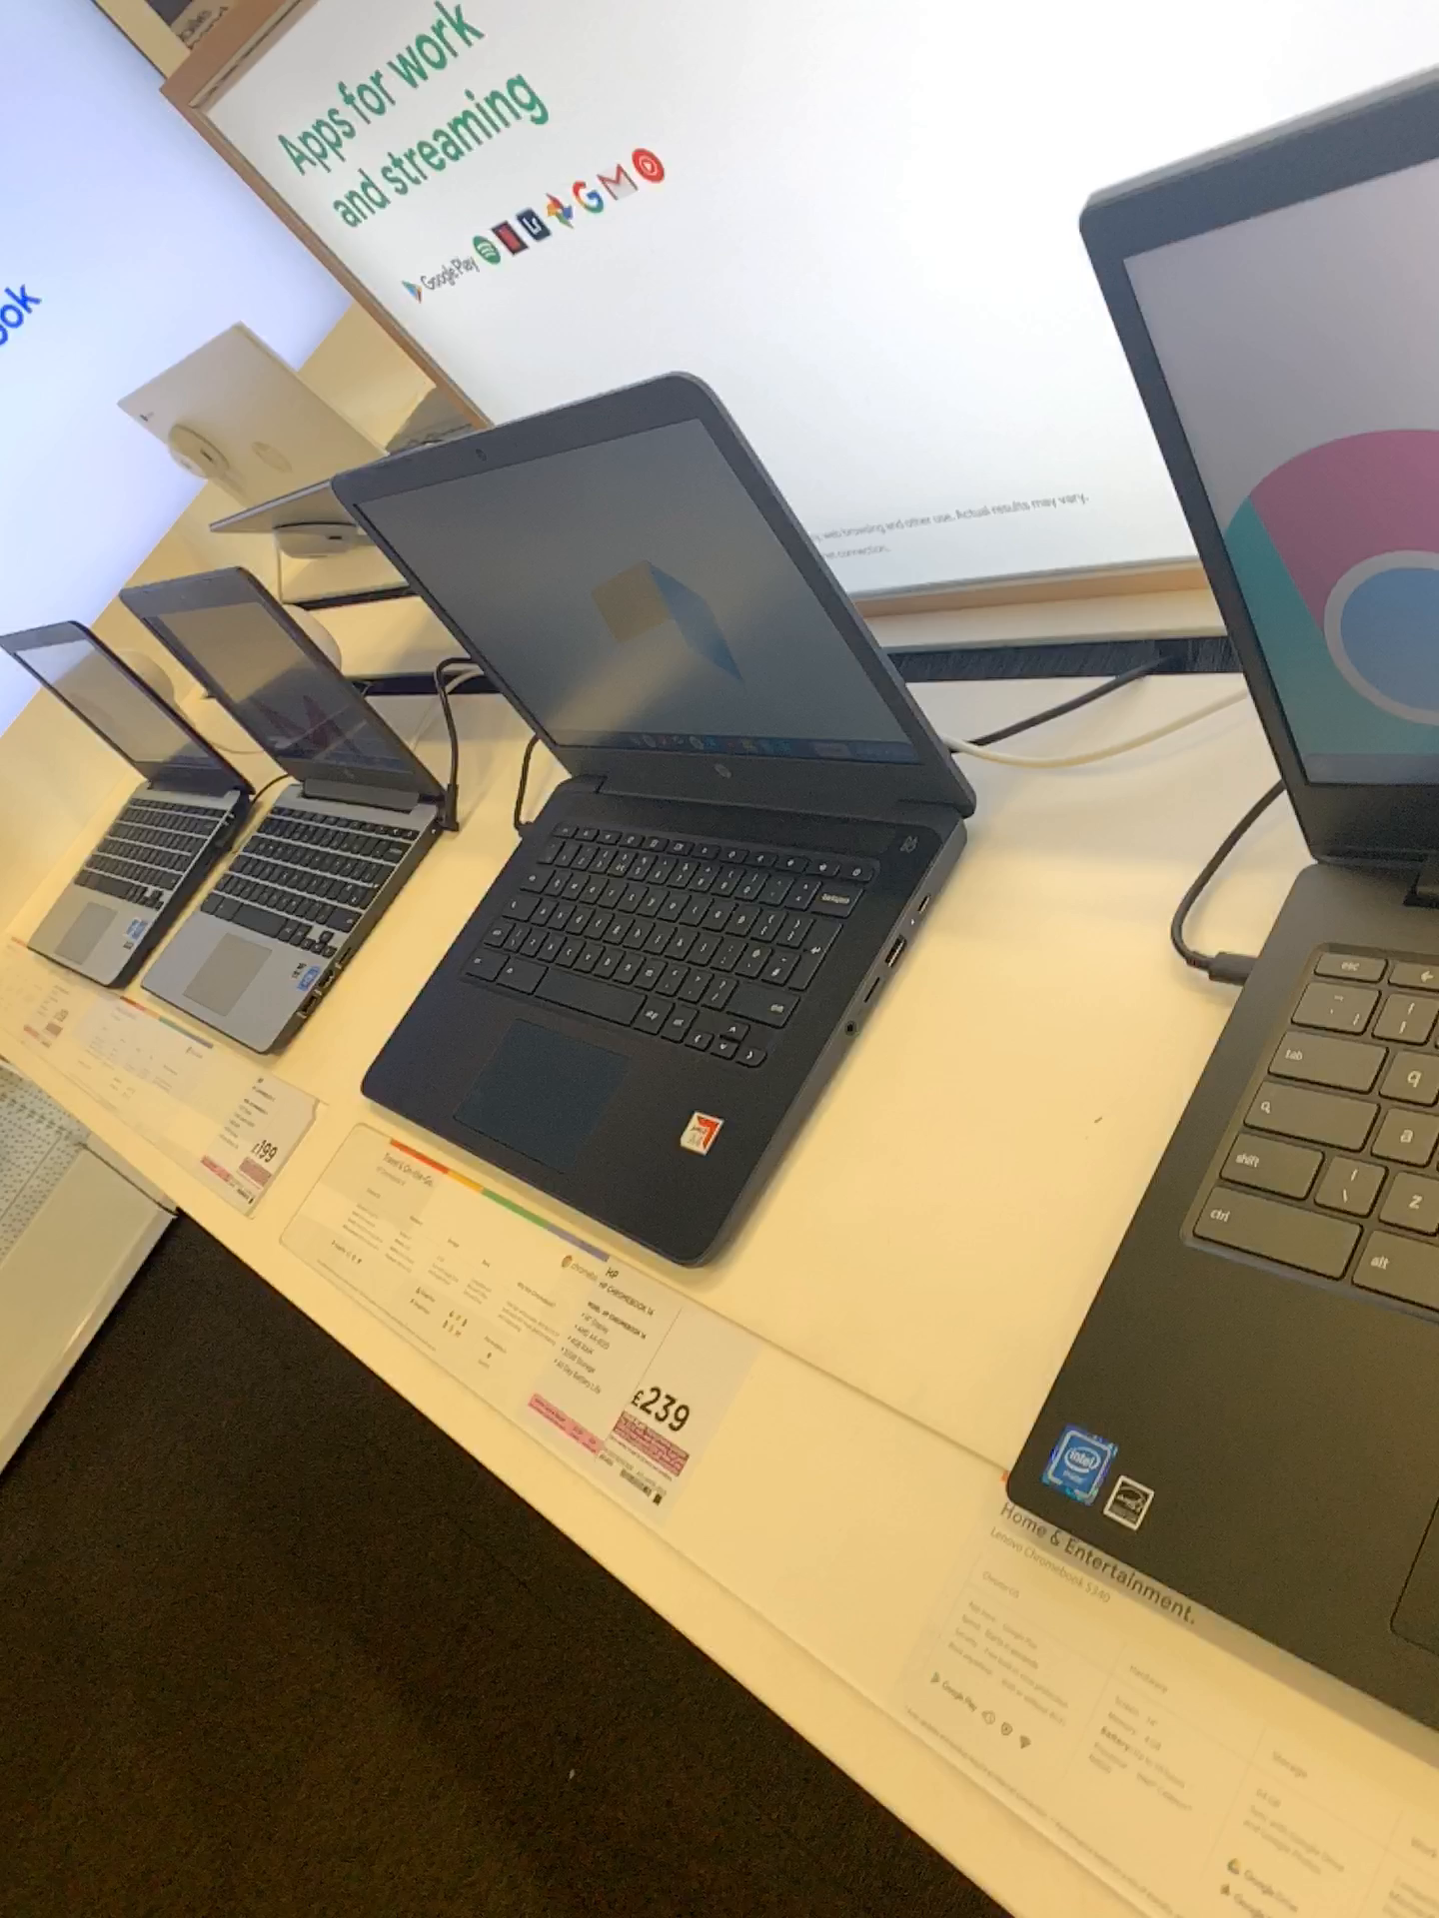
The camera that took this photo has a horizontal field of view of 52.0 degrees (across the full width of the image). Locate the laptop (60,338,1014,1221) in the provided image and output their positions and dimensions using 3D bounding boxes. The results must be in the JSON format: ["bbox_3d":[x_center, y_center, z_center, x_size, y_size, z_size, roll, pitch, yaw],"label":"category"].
[{"bbox_3d":[-0.100,-0.079,0.678,0.333,0.209,0.244,13,67,53],"label":"laptop"}]

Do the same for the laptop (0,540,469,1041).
[{"bbox_3d":[-0.368,-0.120,1.024,0.272,0.186,0.241,11,66,51],"label":"laptop"}]

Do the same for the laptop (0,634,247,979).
[{"bbox_3d":[-0.600,-0.138,1.304,0.336,0.189,0.191,13,68,54],"label":"laptop"}]
